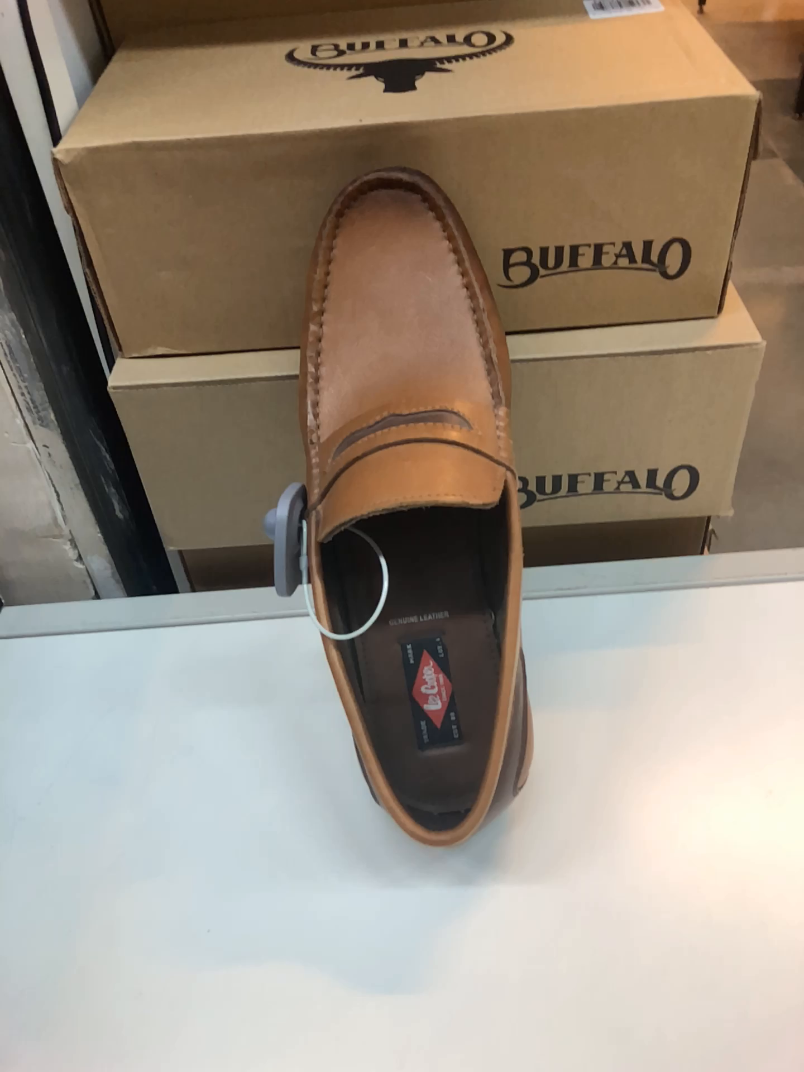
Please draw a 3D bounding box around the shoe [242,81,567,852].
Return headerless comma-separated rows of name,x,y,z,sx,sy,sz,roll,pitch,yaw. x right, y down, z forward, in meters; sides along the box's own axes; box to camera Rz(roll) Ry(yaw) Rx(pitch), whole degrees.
shoe,0.004,-0.027,0.397,0.103,0.102,0.294,-5,85,6
